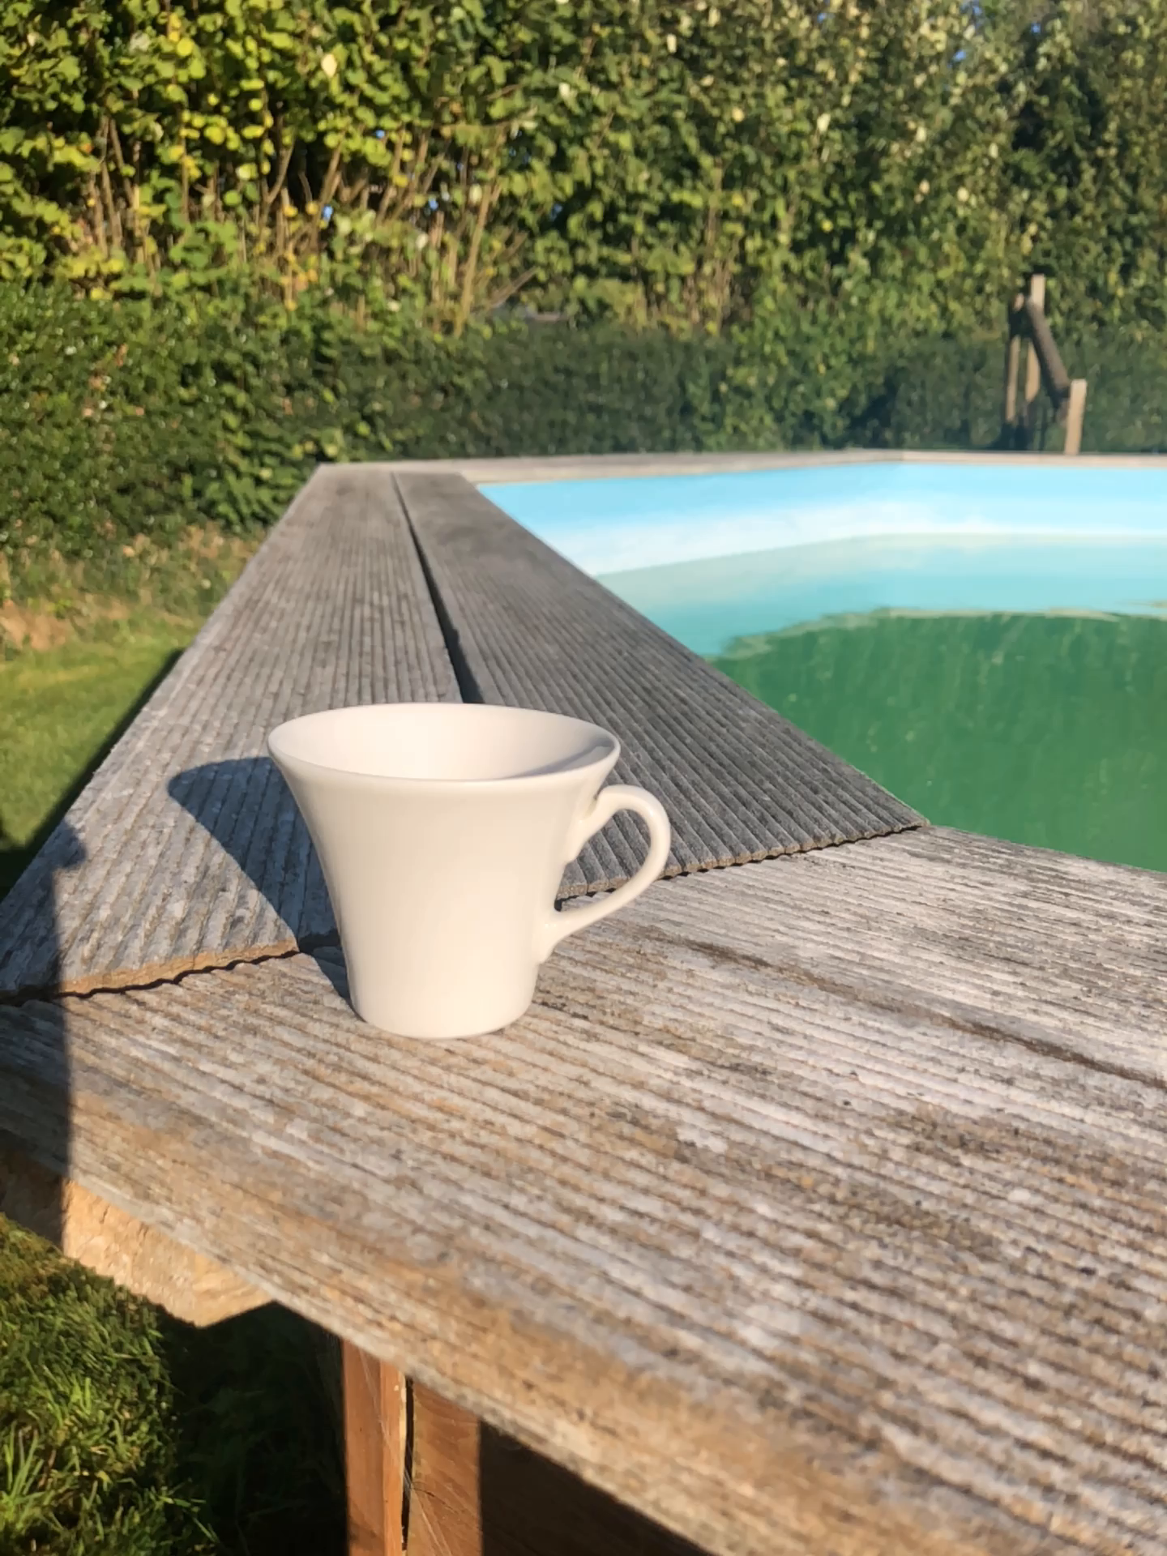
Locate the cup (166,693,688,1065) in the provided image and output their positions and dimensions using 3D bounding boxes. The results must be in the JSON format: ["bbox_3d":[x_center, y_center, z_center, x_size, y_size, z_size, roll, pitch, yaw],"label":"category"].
[{"bbox_3d":[-0.027,0.017,0.280,0.097,0.053,0.077,3,15,4],"label":"cup"}]
